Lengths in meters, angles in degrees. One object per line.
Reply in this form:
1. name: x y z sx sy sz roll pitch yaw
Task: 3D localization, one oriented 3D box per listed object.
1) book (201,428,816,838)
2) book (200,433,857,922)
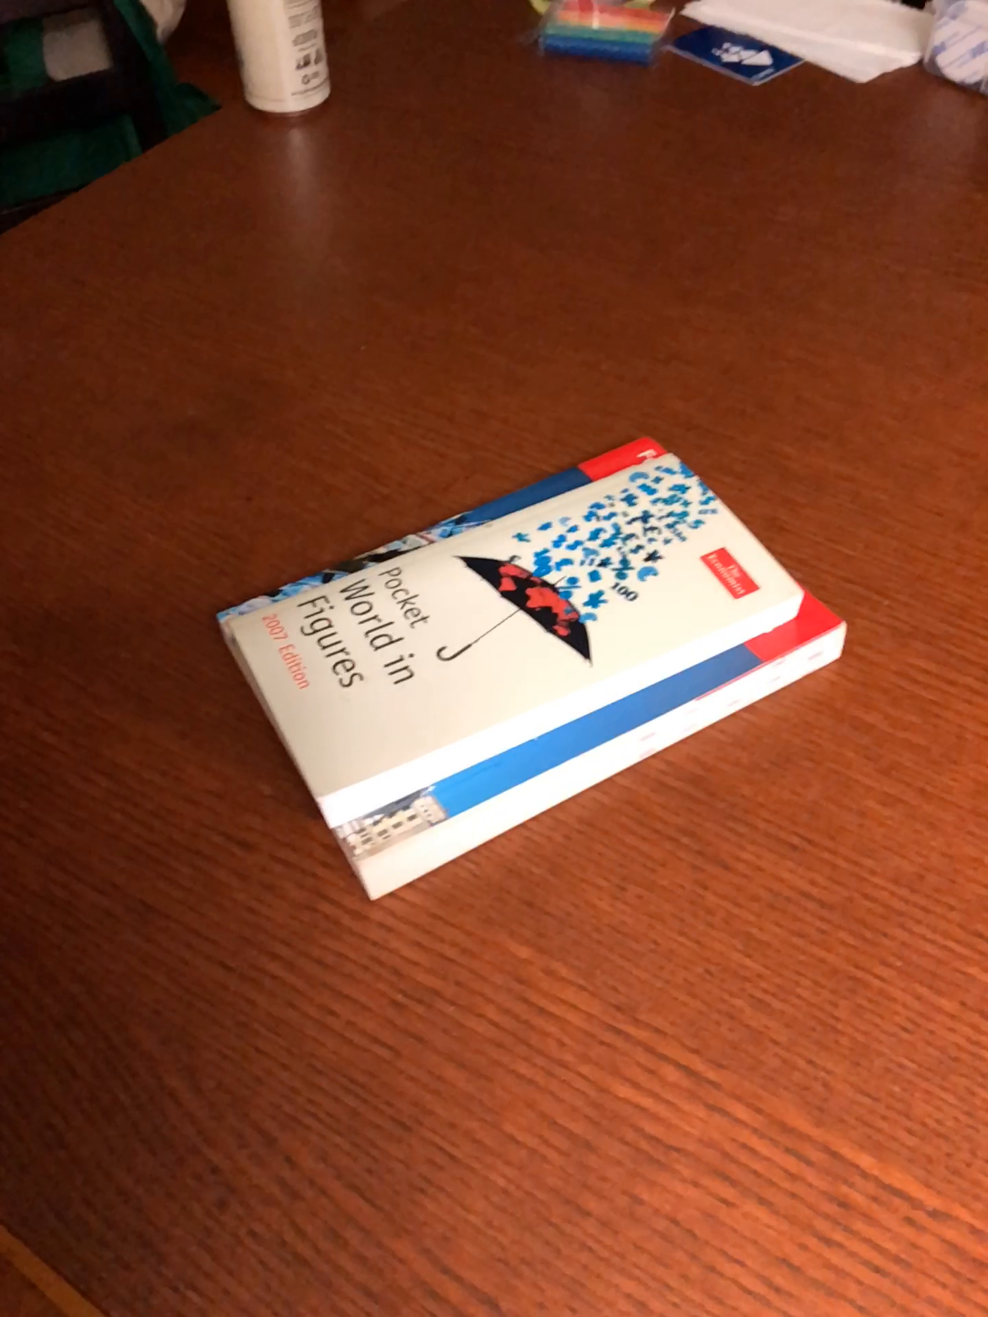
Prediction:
1. book: 0.005 -0.019 0.403 0.200 0.020 0.100 -22 54 -16
2. book: 0.011 -0.007 0.425 0.210 0.020 0.140 -24 54 -17
